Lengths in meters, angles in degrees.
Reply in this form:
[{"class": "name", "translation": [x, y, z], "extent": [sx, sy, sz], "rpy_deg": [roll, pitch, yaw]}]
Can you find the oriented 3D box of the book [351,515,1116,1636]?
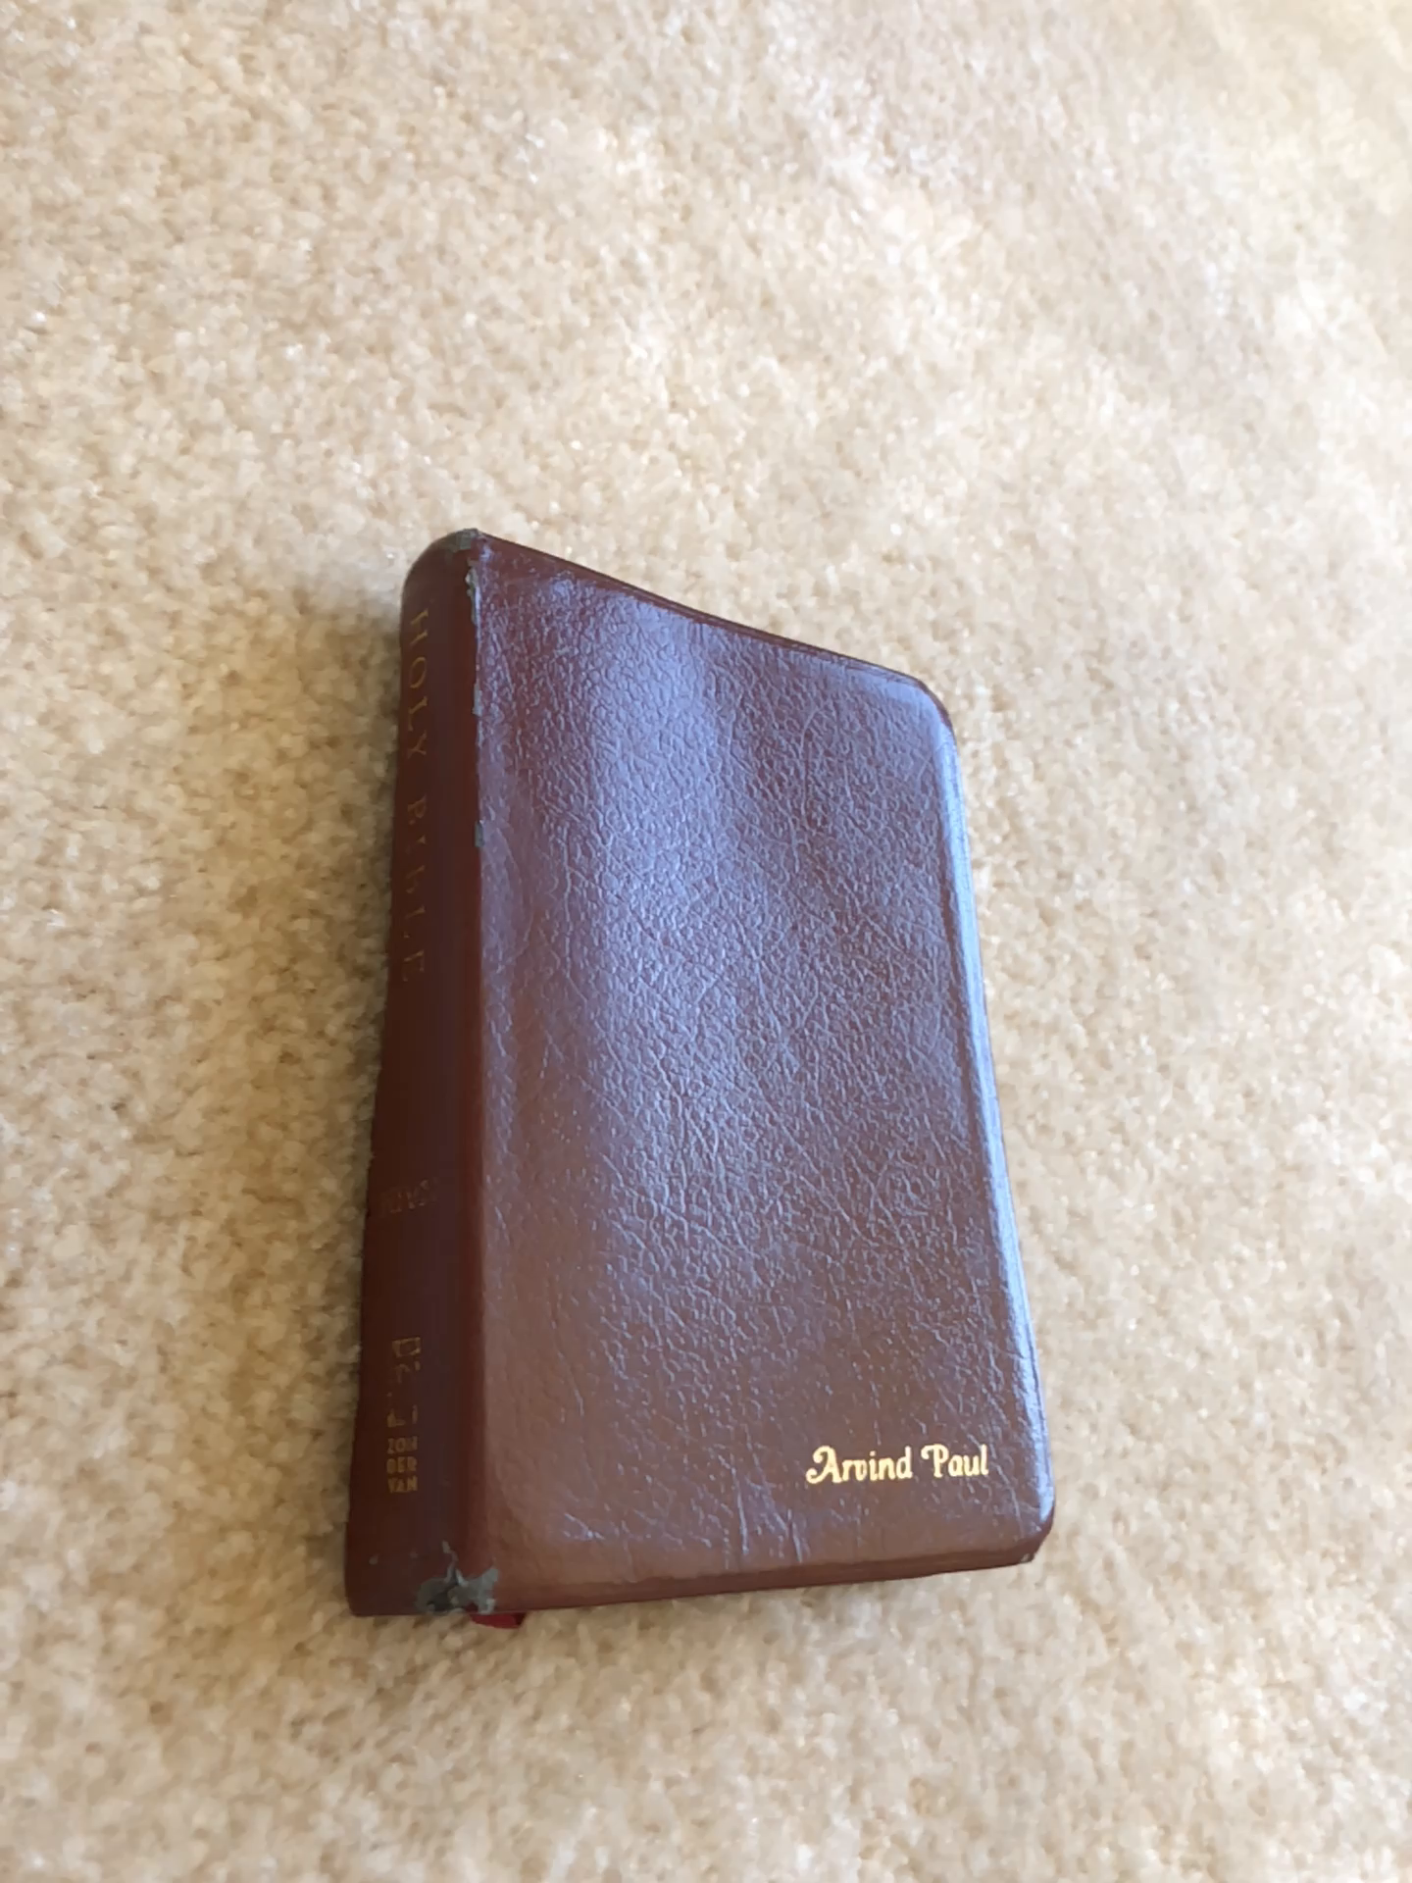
[{"class": "book", "translation": [0.004, 0.023, 0.258], "extent": [0.111, 0.040, 0.157], "rpy_deg": [10, 66, -33]}]
